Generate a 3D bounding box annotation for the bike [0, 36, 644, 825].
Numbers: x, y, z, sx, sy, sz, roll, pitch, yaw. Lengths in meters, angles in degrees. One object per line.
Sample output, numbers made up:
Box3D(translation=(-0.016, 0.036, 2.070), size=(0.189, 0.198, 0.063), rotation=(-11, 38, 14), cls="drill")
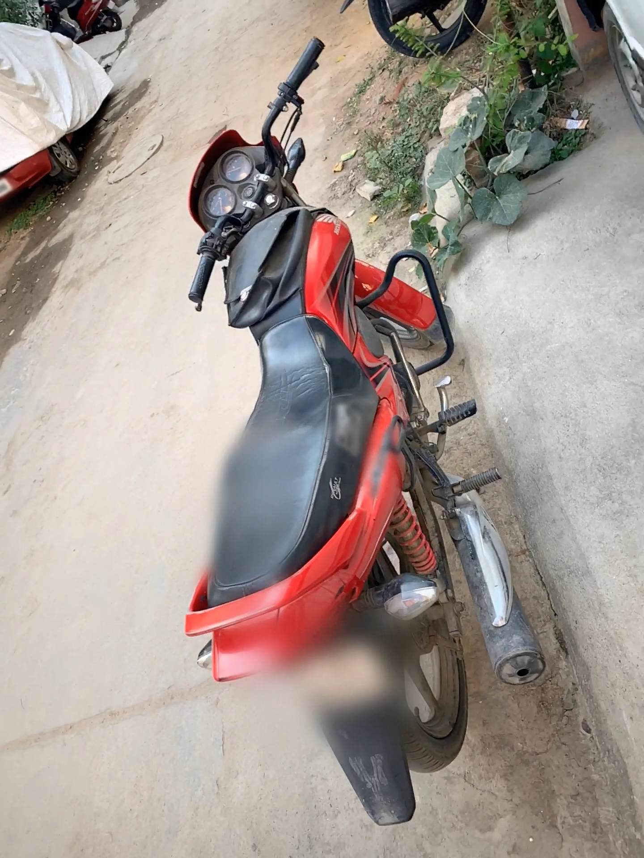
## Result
Box3D(translation=(-0.009, -0.090, 1.705), size=(0.759, 1.092, 1.714), rotation=(-28, 41, 16), cls="bike")
